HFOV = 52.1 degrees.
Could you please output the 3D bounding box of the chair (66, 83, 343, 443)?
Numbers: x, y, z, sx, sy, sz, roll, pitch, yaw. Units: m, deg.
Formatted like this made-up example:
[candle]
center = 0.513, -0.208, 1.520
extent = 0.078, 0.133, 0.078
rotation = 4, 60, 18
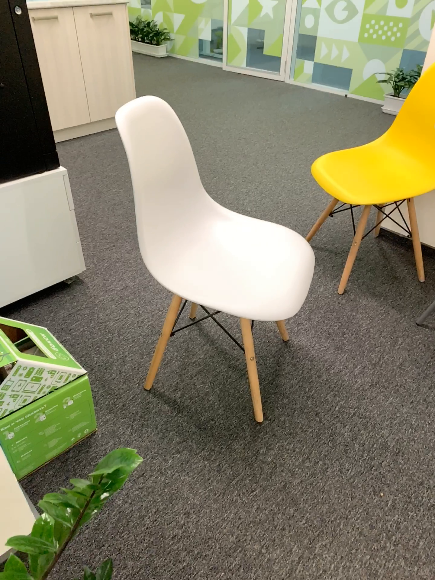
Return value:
[chair]
center = -0.002, -0.075, 1.262
extent = 0.500, 0.815, 0.463
rotation = 13, 38, 15
